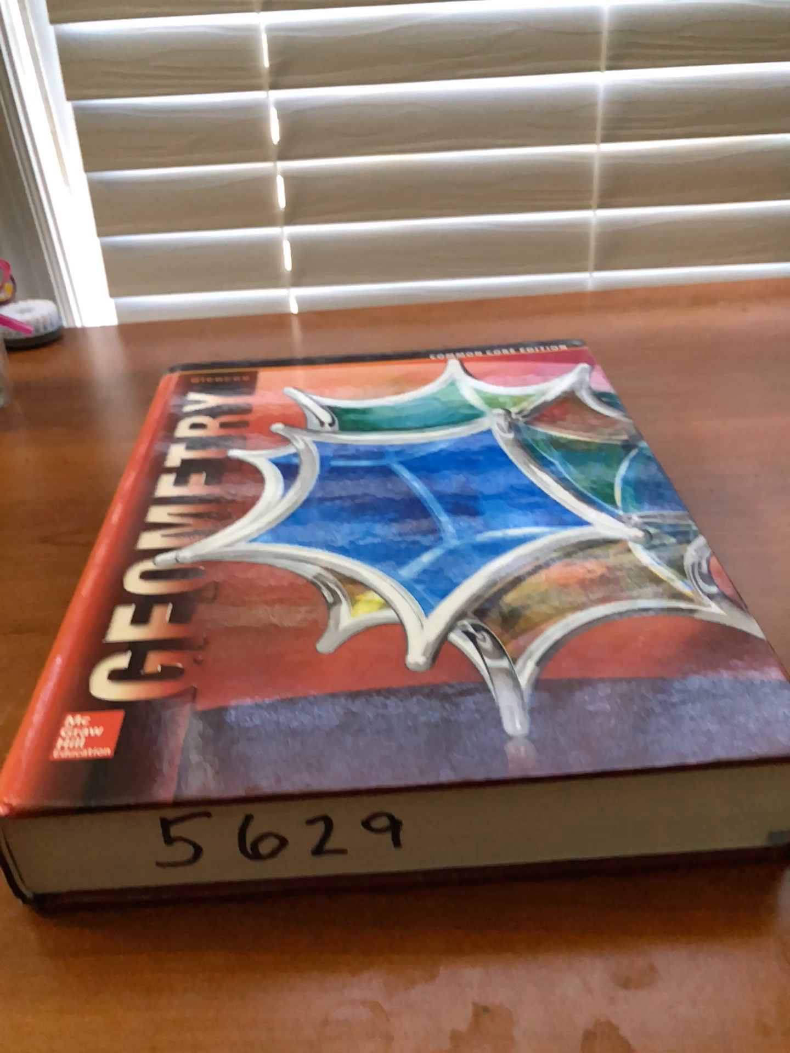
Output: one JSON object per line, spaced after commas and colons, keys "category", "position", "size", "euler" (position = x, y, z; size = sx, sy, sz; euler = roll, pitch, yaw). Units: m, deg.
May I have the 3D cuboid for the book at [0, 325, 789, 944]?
{"category": "book", "position": [-0.002, 0.003, 0.361], "size": [0.229, 0.050, 0.312], "euler": [-4, 33, -1]}
